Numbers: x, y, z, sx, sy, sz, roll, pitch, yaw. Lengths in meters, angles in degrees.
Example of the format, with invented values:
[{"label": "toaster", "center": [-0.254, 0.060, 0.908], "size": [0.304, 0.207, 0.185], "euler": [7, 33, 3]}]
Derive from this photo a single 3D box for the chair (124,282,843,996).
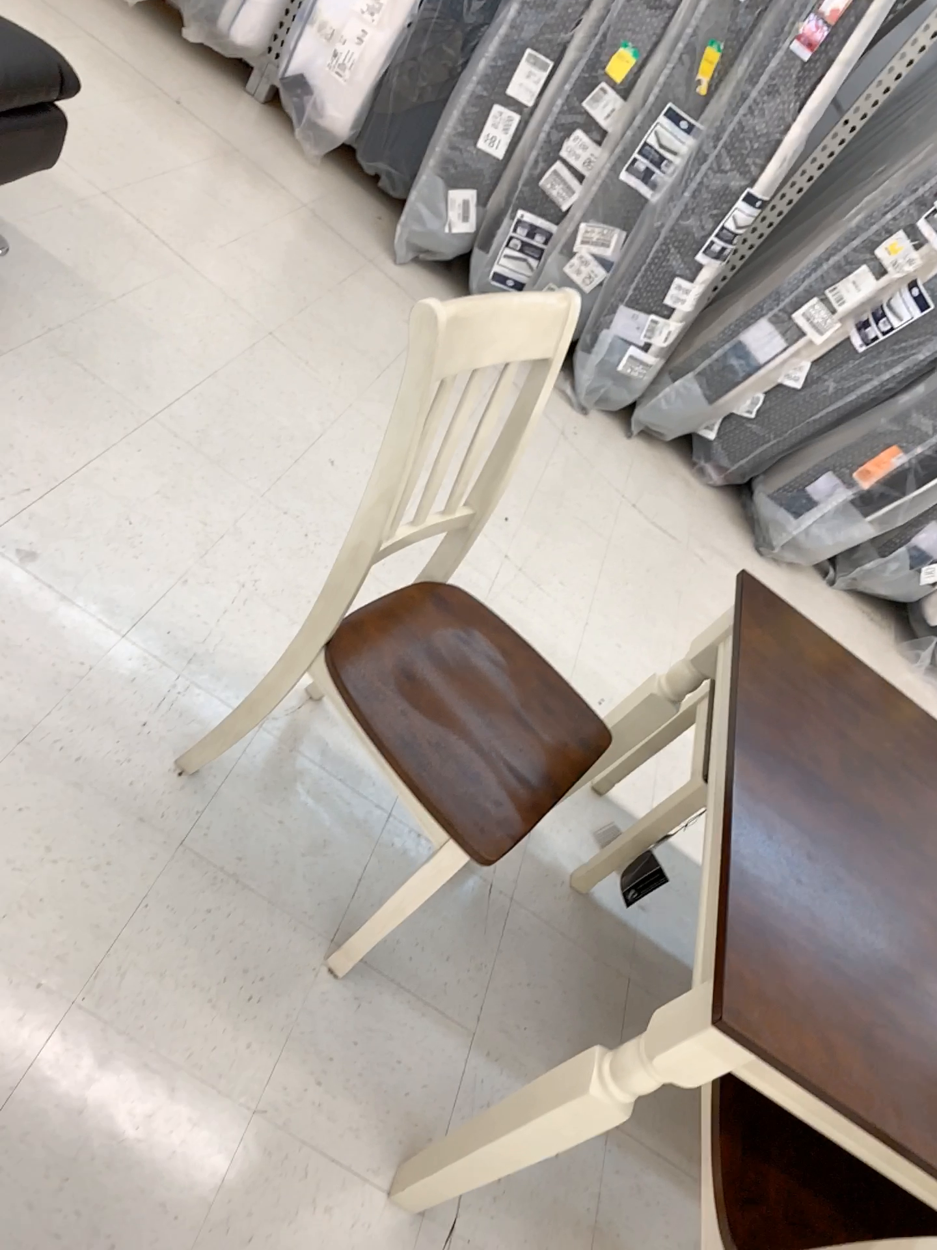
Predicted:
[{"label": "chair", "center": [-0.006, 0.026, 1.527], "size": [0.570, 0.905, 0.533], "euler": [47, 35, 7]}]
